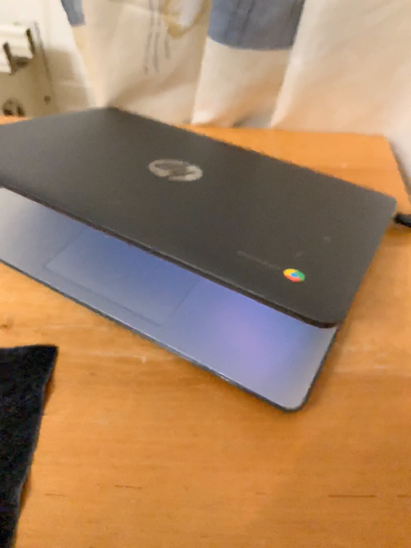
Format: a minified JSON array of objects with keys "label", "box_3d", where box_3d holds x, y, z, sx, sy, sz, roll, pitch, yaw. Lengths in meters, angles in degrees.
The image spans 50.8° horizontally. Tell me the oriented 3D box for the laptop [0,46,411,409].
[{"label":"laptop","box_3d":[-0.020,-0.064,0.302,0.268,0.066,0.191,24,52,19]}]
